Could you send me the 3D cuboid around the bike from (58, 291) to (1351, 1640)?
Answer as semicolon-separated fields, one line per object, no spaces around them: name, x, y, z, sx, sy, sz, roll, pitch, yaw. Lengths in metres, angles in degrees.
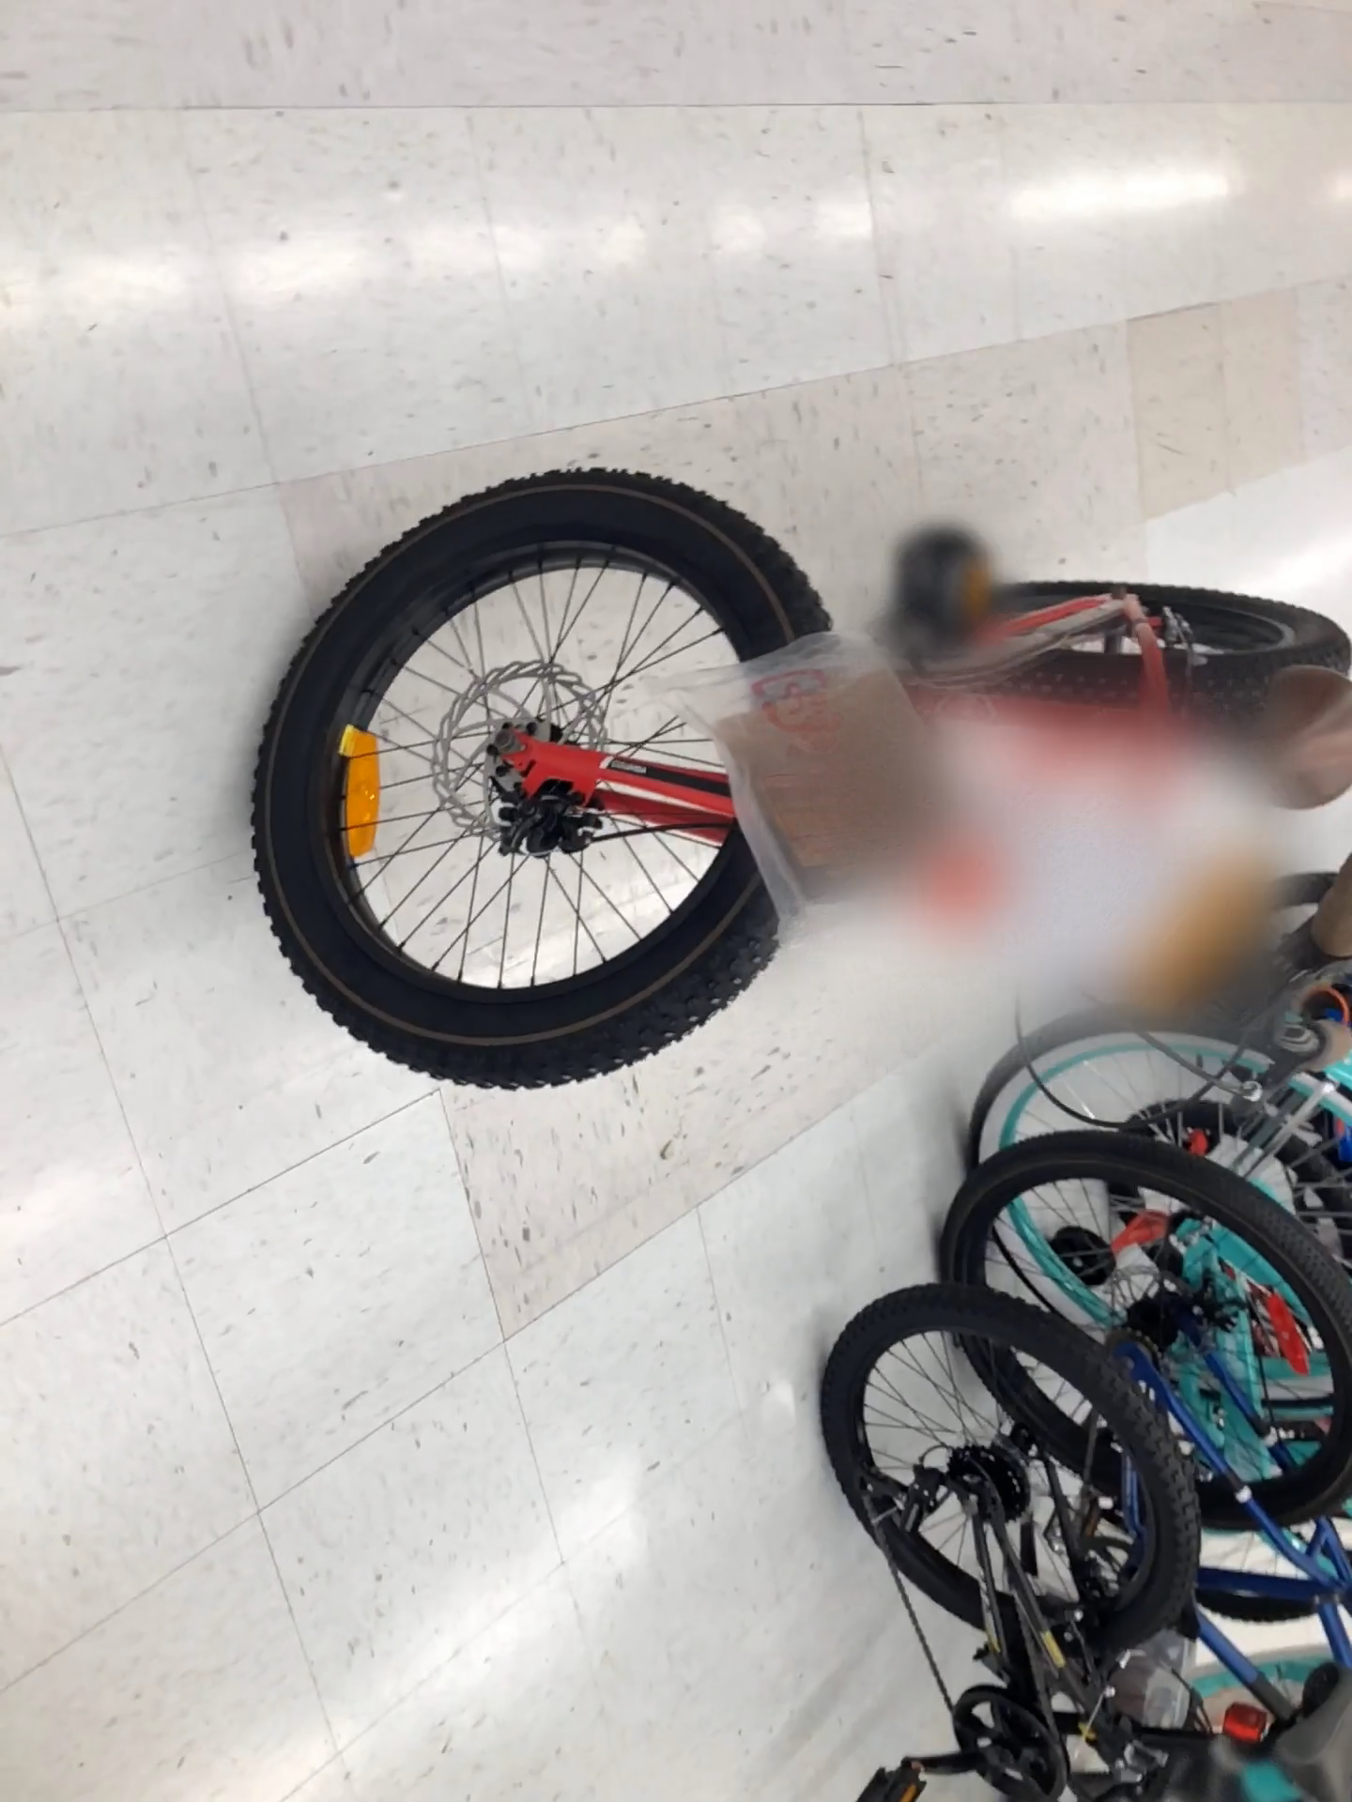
bike;0.357;-0.129;1.486;1.363;0.968;0.608;-26;113;-36
